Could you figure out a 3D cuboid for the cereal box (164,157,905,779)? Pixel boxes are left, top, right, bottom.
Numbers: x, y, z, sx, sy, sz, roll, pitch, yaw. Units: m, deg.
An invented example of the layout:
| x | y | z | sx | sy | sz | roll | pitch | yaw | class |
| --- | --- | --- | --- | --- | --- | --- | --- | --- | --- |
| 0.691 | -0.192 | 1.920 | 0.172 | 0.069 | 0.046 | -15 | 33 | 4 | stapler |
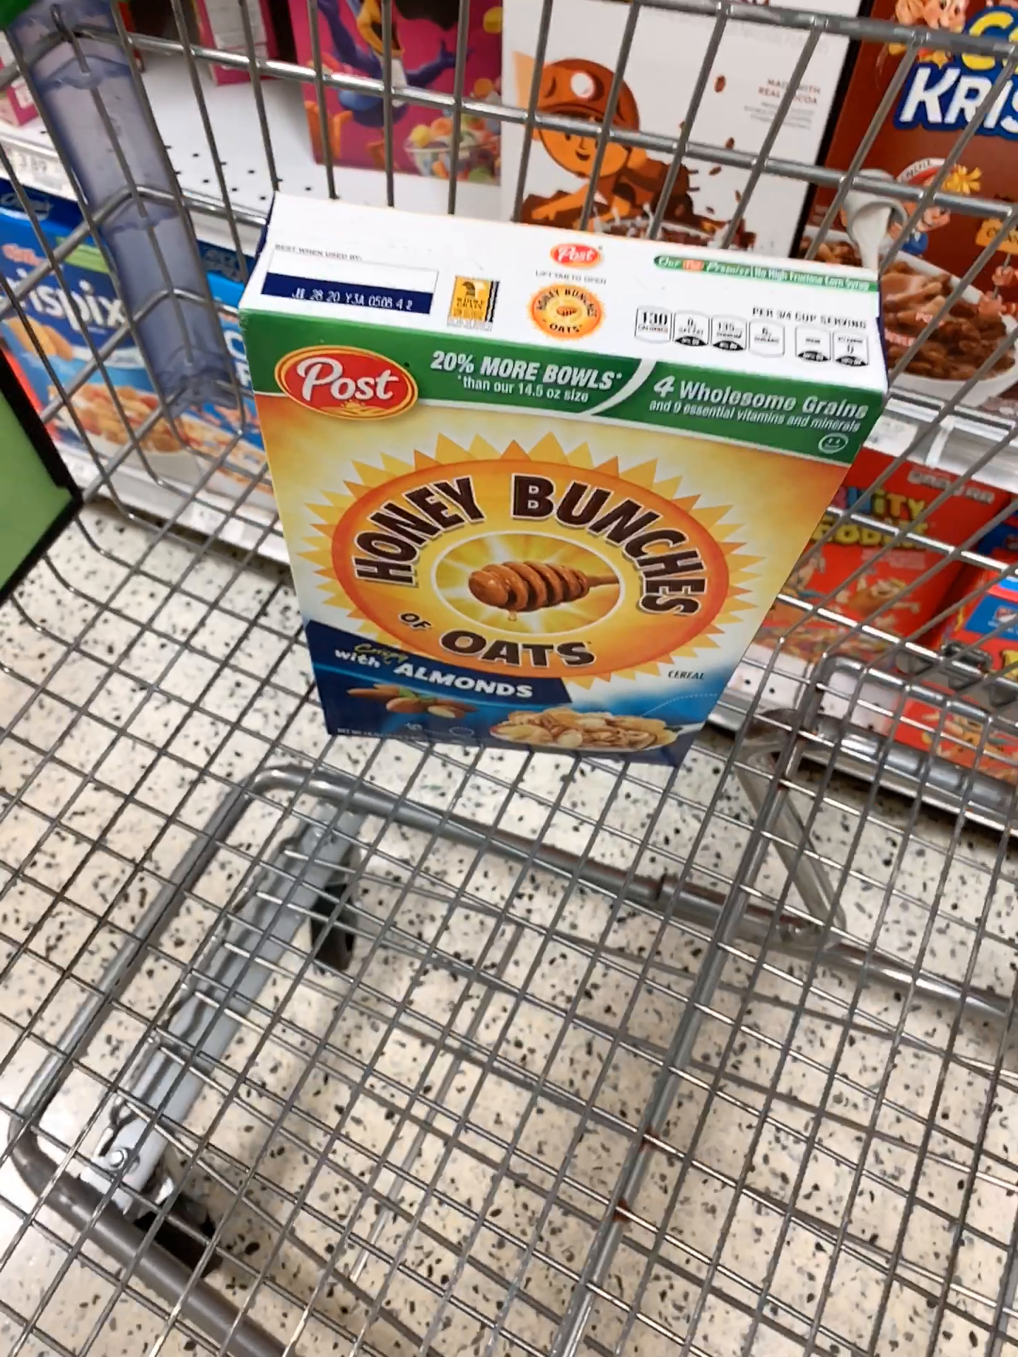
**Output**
| x | y | z | sx | sy | sz | roll | pitch | yaw | class |
| --- | --- | --- | --- | --- | --- | --- | --- | --- | --- |
| 0.006 | -0.054 | 0.448 | 0.210 | 0.308 | 0.060 | 8 | 64 | 2 | cereal box |
